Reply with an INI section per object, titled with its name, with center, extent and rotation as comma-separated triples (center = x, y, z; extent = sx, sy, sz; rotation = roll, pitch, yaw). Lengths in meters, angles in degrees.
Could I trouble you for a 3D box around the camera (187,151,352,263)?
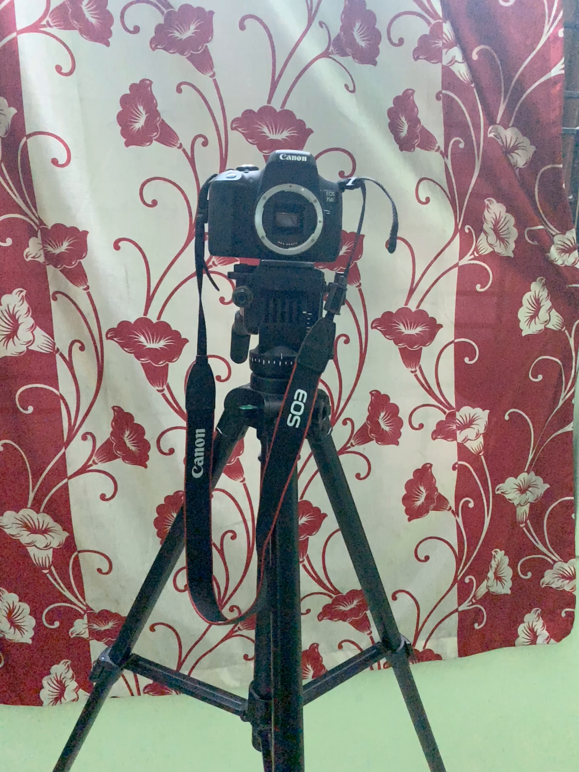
[camera]
center = -0.021, -0.163, 0.556
extent = 0.142, 0.088, 0.085
rotation = 0, 10, -5
